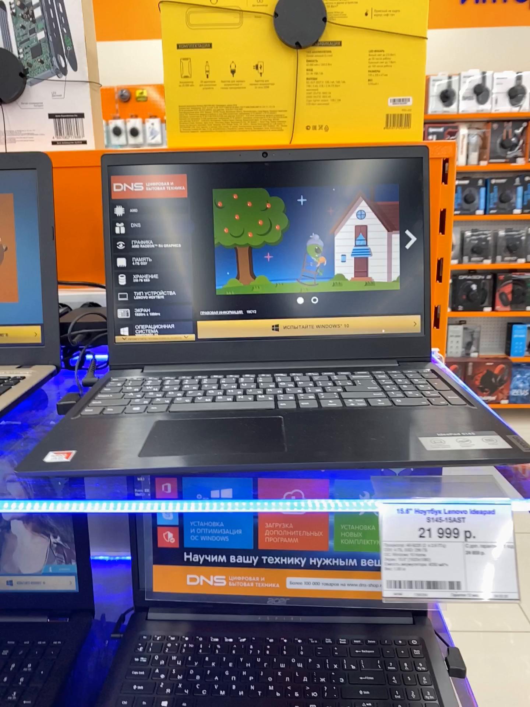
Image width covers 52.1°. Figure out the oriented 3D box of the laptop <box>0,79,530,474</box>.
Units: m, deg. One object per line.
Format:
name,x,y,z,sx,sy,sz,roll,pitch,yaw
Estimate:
laptop,0.009,-0.075,0.484,0.358,0.233,0.298,-2,14,0
